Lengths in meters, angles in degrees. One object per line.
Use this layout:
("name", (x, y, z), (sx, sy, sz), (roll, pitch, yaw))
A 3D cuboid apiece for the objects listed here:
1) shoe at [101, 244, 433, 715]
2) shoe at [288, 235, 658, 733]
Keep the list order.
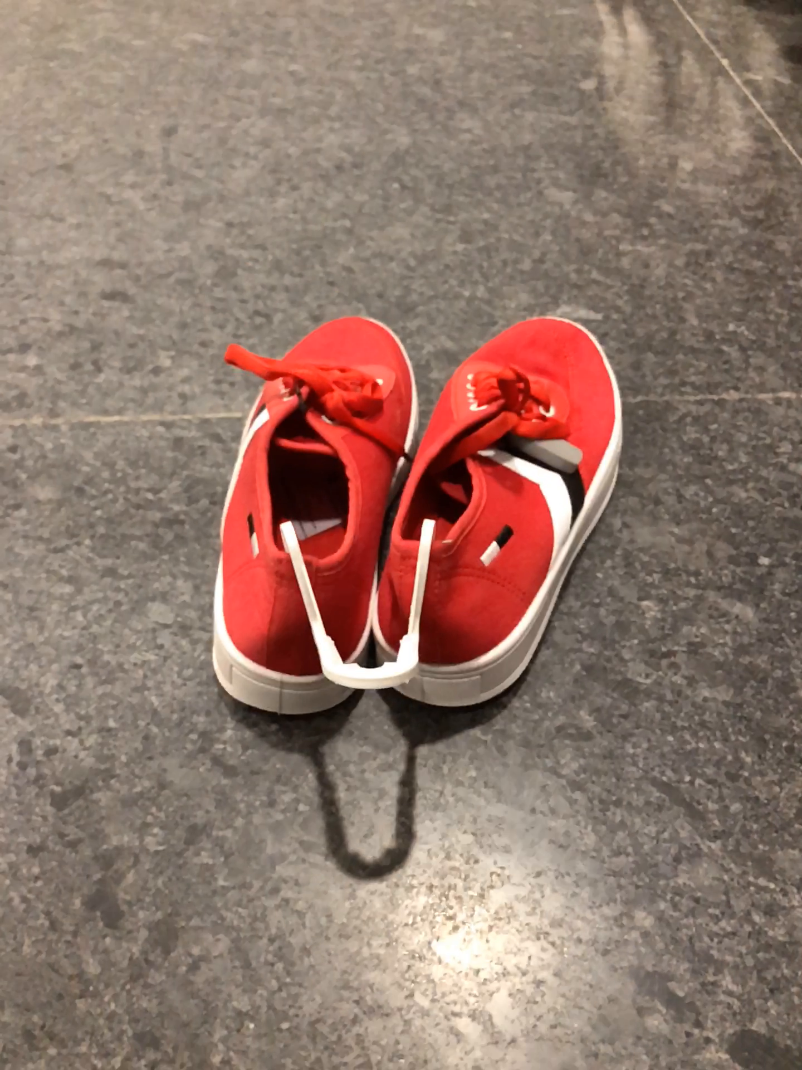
("shoe", (-0.046, -0.041, 0.433), (0.101, 0.090, 0.234), (4, 45, 5))
("shoe", (0.046, -0.041, 0.426), (0.103, 0.090, 0.235), (14, 47, 14))
